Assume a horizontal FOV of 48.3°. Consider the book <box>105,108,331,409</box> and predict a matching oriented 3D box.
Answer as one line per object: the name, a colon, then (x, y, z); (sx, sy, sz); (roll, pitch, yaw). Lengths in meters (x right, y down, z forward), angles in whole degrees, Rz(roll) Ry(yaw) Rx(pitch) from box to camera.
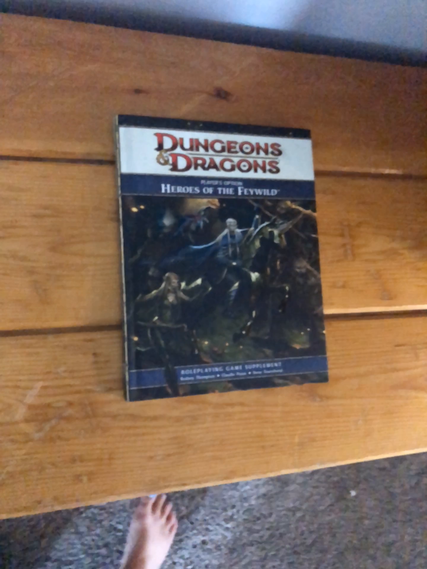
book: (0.008, -0.029, 0.480); (0.220, 0.020, 0.280); (-2, 87, -17)
